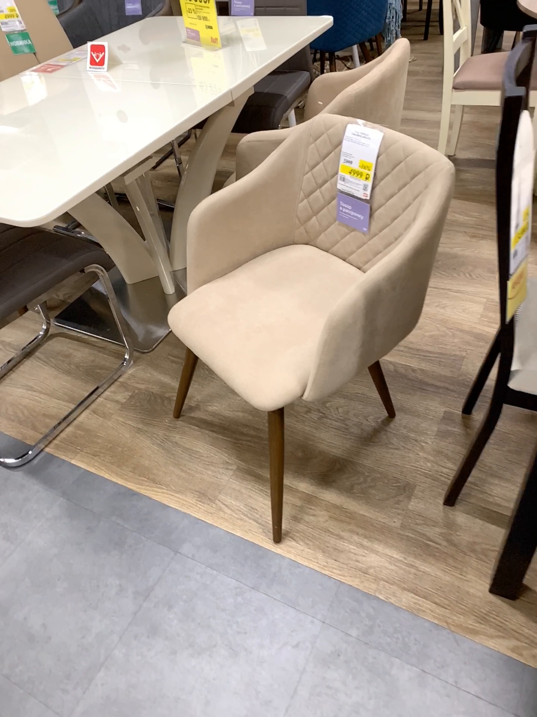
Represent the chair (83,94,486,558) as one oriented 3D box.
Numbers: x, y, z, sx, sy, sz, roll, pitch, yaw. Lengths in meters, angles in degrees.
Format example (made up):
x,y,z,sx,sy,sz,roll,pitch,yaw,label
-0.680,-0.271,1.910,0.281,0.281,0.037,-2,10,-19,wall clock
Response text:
x,y,z,sx,sy,sz,roll,pitch,yaw,label
0.046,-0.090,1.393,0.571,0.836,0.602,-30,47,-22,chair
